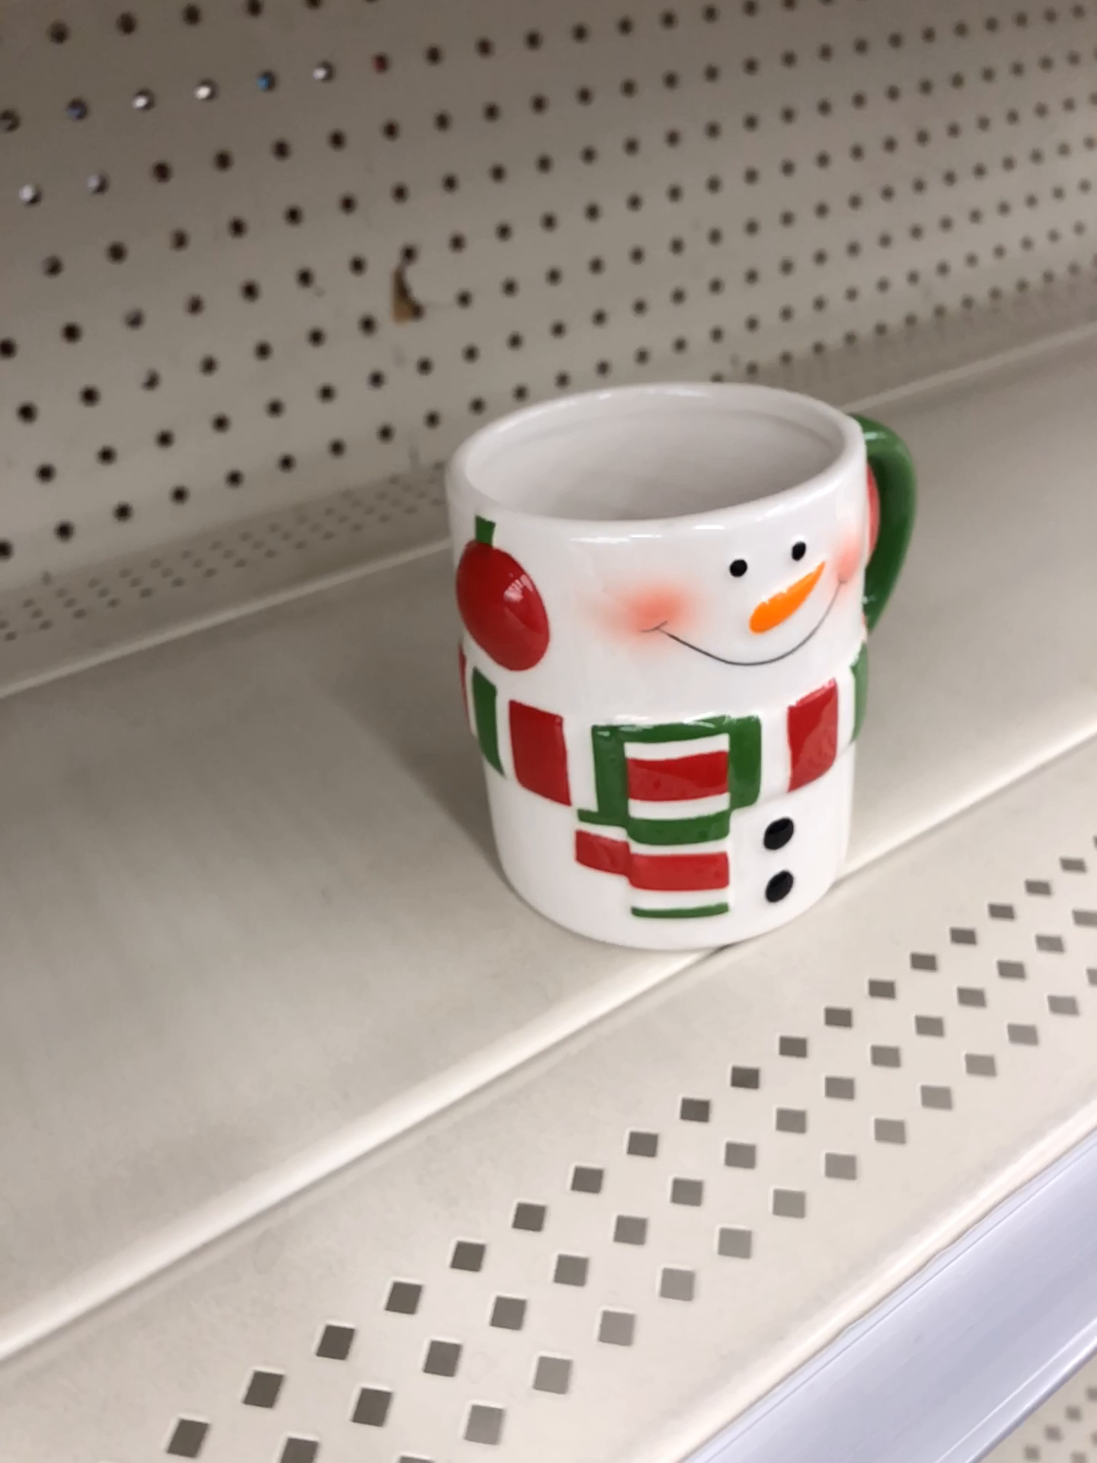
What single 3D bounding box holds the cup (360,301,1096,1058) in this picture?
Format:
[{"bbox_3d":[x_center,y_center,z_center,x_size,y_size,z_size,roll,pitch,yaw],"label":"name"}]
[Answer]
[{"bbox_3d":[0.044,-0.022,0.285,0.130,0.110,0.090,-27,38,-30],"label":"cup"}]
